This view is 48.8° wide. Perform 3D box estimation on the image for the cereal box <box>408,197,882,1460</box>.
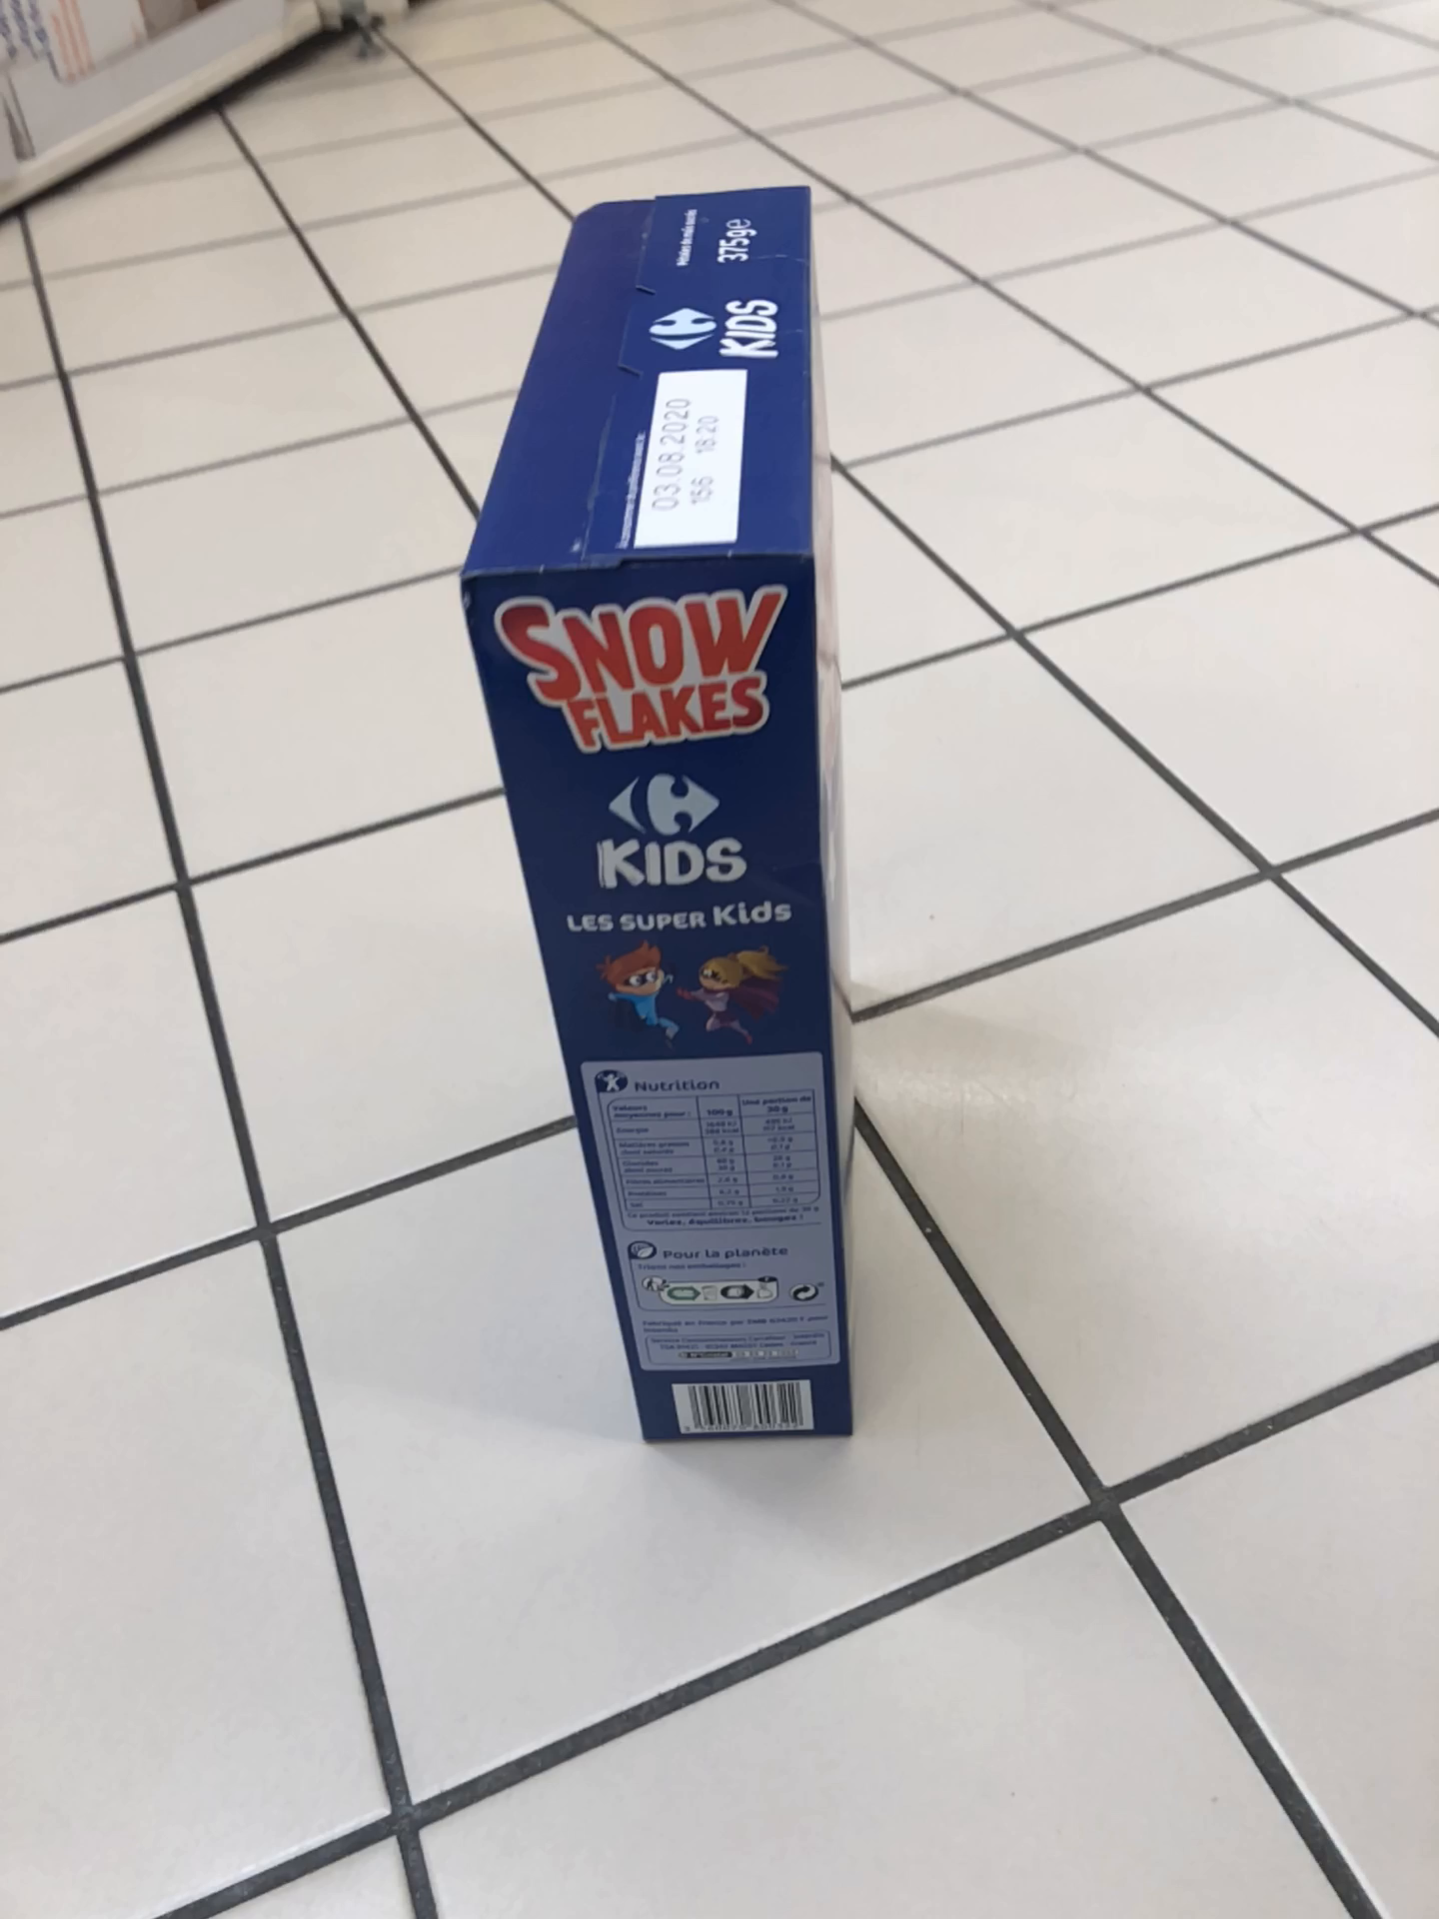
[{"bbox_3d":[0.000,-0.026,0.446,0.080,0.288,0.201,-2,43,5],"label":"cereal box"}]
